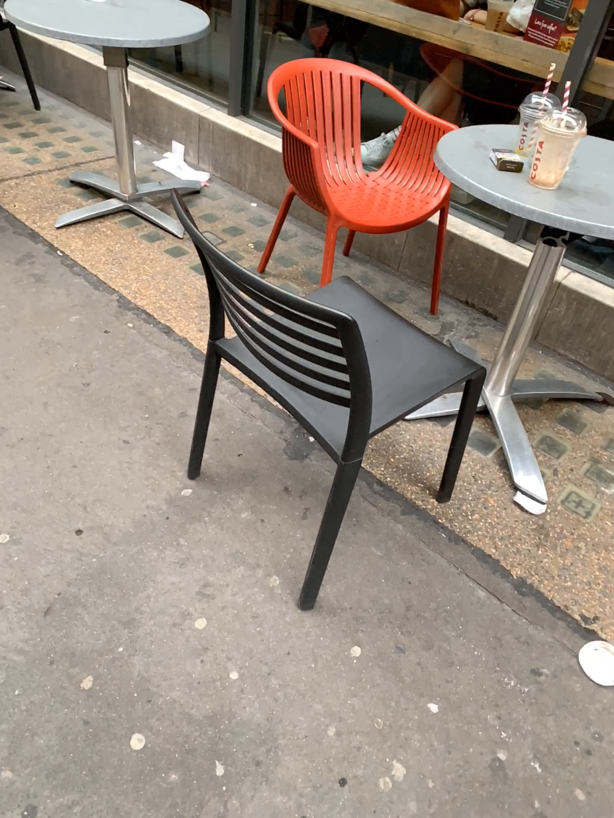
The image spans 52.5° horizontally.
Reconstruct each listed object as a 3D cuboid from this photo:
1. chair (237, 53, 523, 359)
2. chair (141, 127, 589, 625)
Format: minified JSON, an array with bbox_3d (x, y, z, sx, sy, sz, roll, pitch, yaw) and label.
[{"bbox_3d":[0.183,-0.721,2.142,0.572,0.743,0.644,-19,48,-29],"label":"chair"},{"bbox_3d":[0.069,-0.098,1.359,0.603,0.752,0.553,-27,53,-35],"label":"chair"}]
